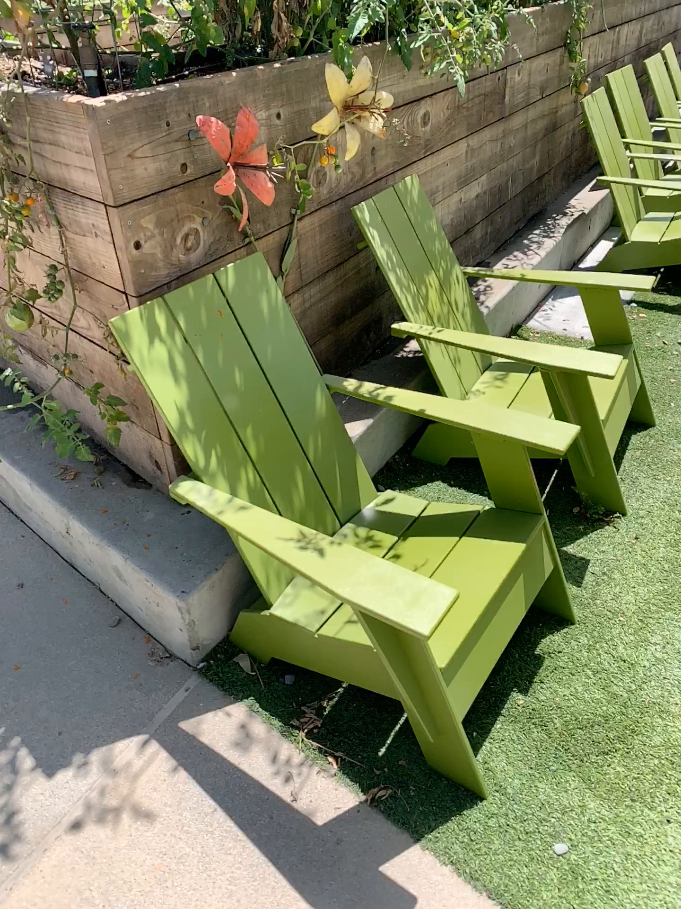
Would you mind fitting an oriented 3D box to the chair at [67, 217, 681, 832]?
[{"bbox_3d":[0.117,0.035,1.452,0.902,0.835,0.682,14,38,32],"label":"chair"}]

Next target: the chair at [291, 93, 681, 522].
[{"bbox_3d":[0.529,-0.448,2.221,0.892,0.985,0.682,6,37,39],"label":"chair"}]
